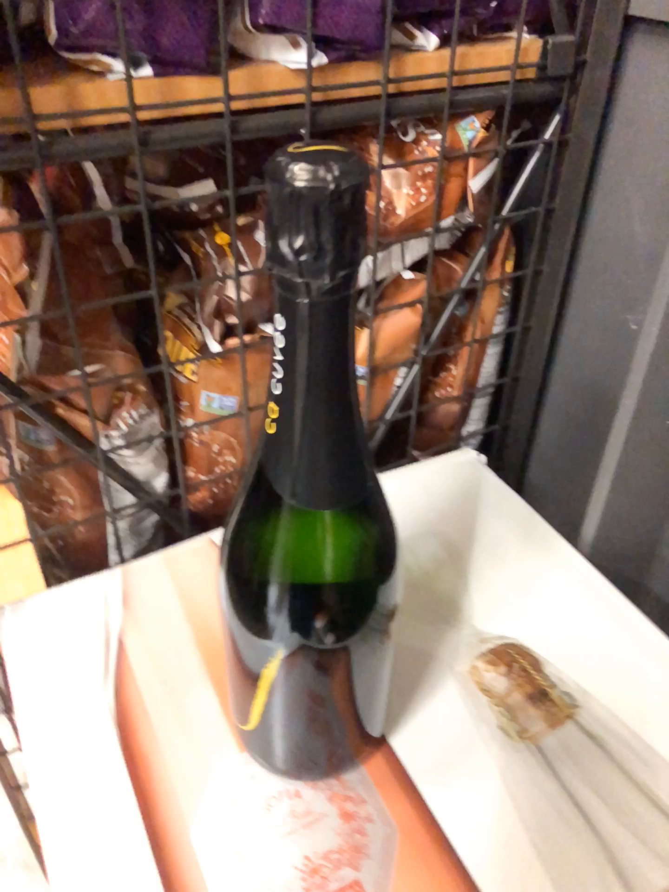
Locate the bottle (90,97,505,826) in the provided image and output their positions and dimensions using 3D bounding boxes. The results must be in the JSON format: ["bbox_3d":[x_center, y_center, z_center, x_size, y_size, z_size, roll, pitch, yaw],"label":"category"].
[{"bbox_3d":[-0.015,0.023,0.312,0.090,0.289,0.090,1,36,-1],"label":"bottle"}]
